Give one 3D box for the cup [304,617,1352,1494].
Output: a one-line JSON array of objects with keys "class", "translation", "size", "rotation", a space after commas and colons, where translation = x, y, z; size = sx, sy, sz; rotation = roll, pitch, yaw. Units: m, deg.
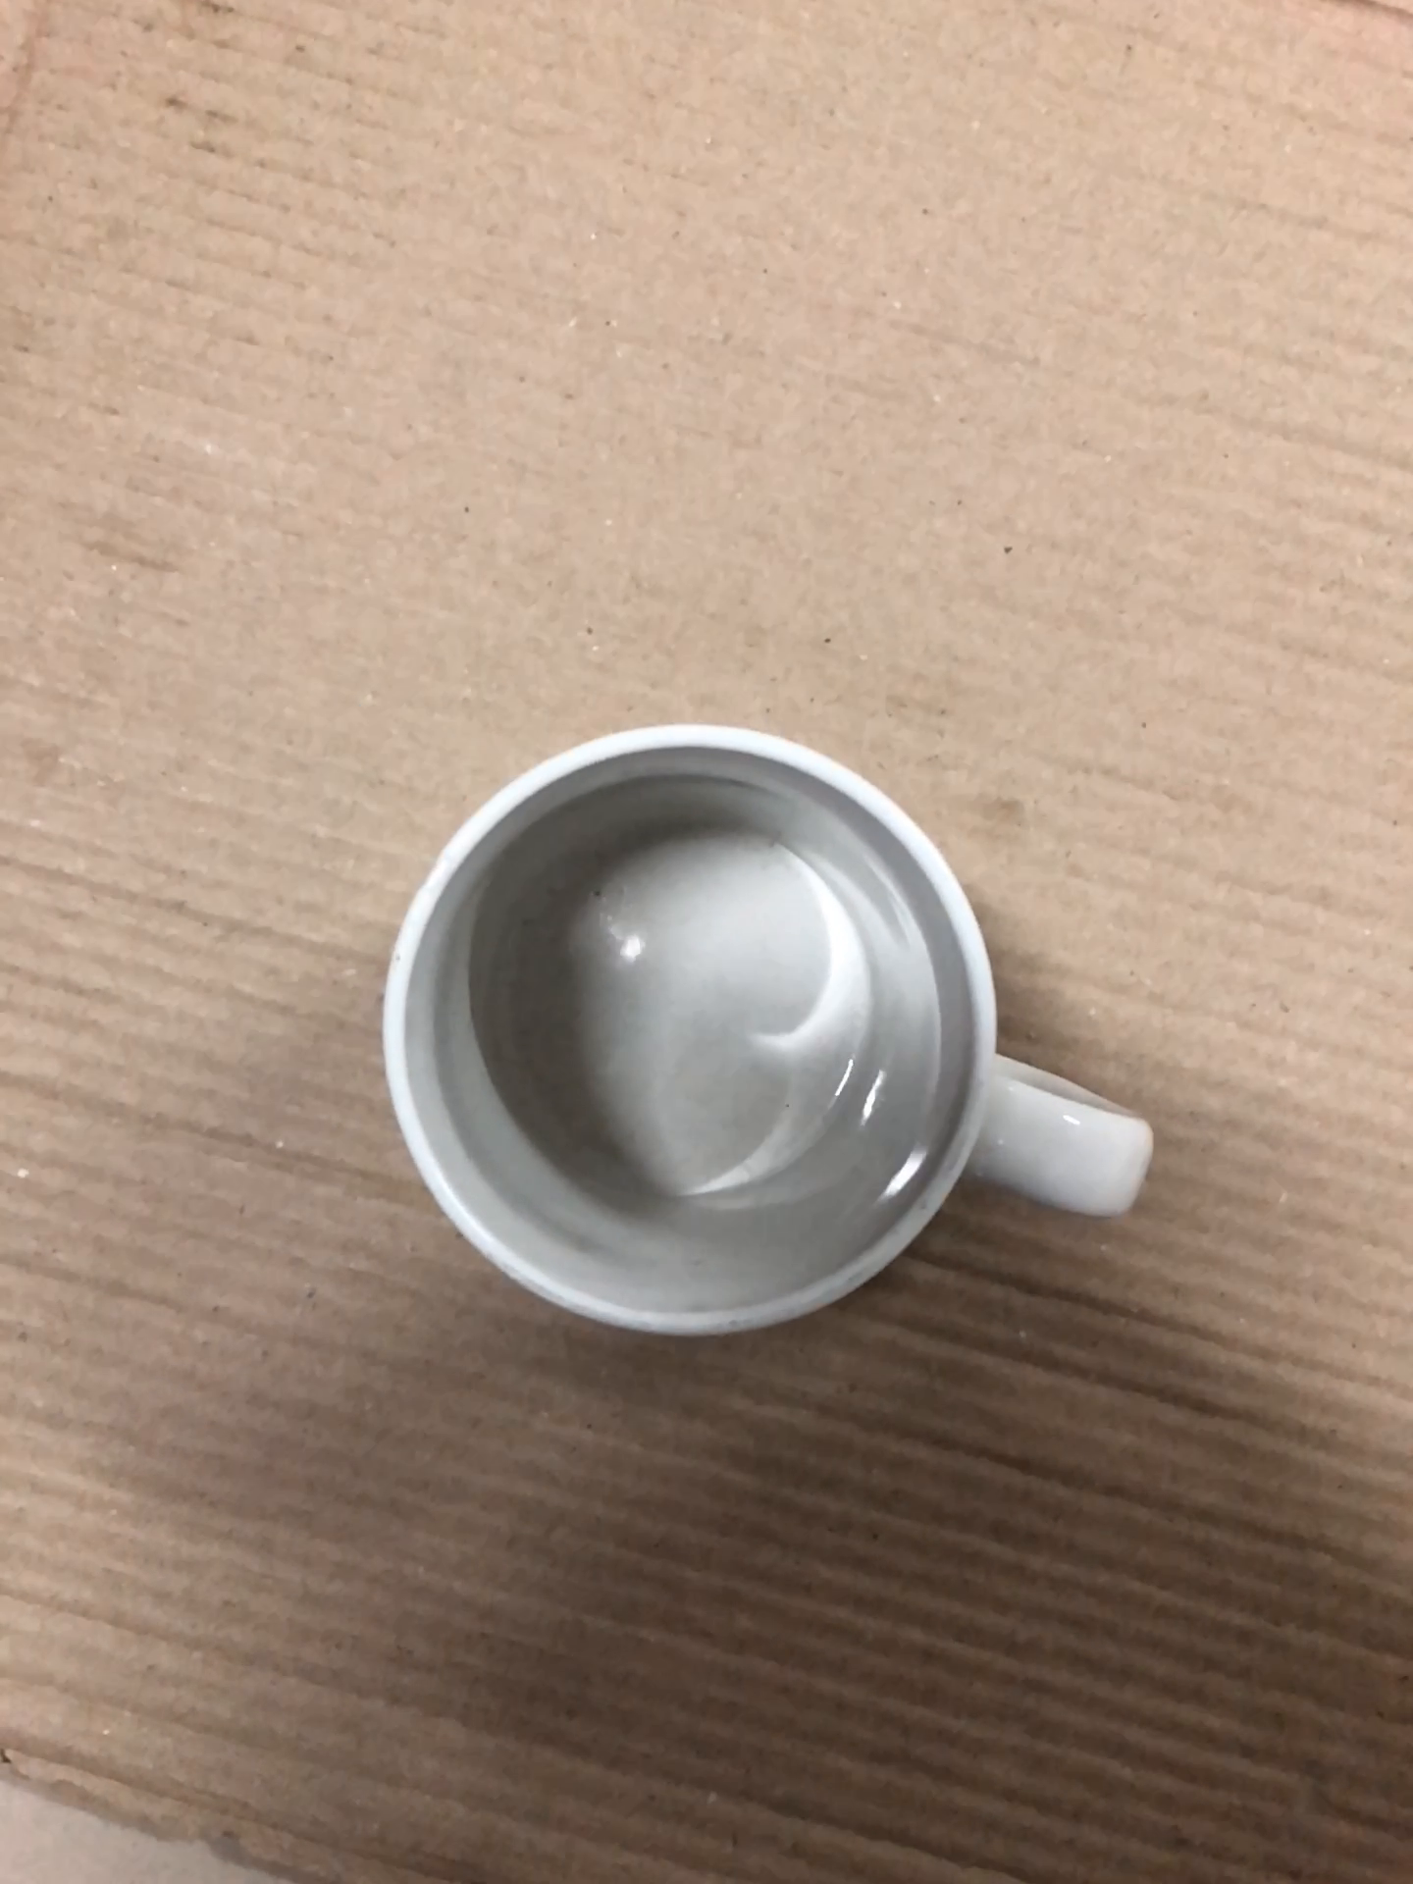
[{"class": "cup", "translation": [0.015, 0.017, 0.229], "size": [0.110, 0.080, 0.080], "rotation": [15, 84, 1]}]
